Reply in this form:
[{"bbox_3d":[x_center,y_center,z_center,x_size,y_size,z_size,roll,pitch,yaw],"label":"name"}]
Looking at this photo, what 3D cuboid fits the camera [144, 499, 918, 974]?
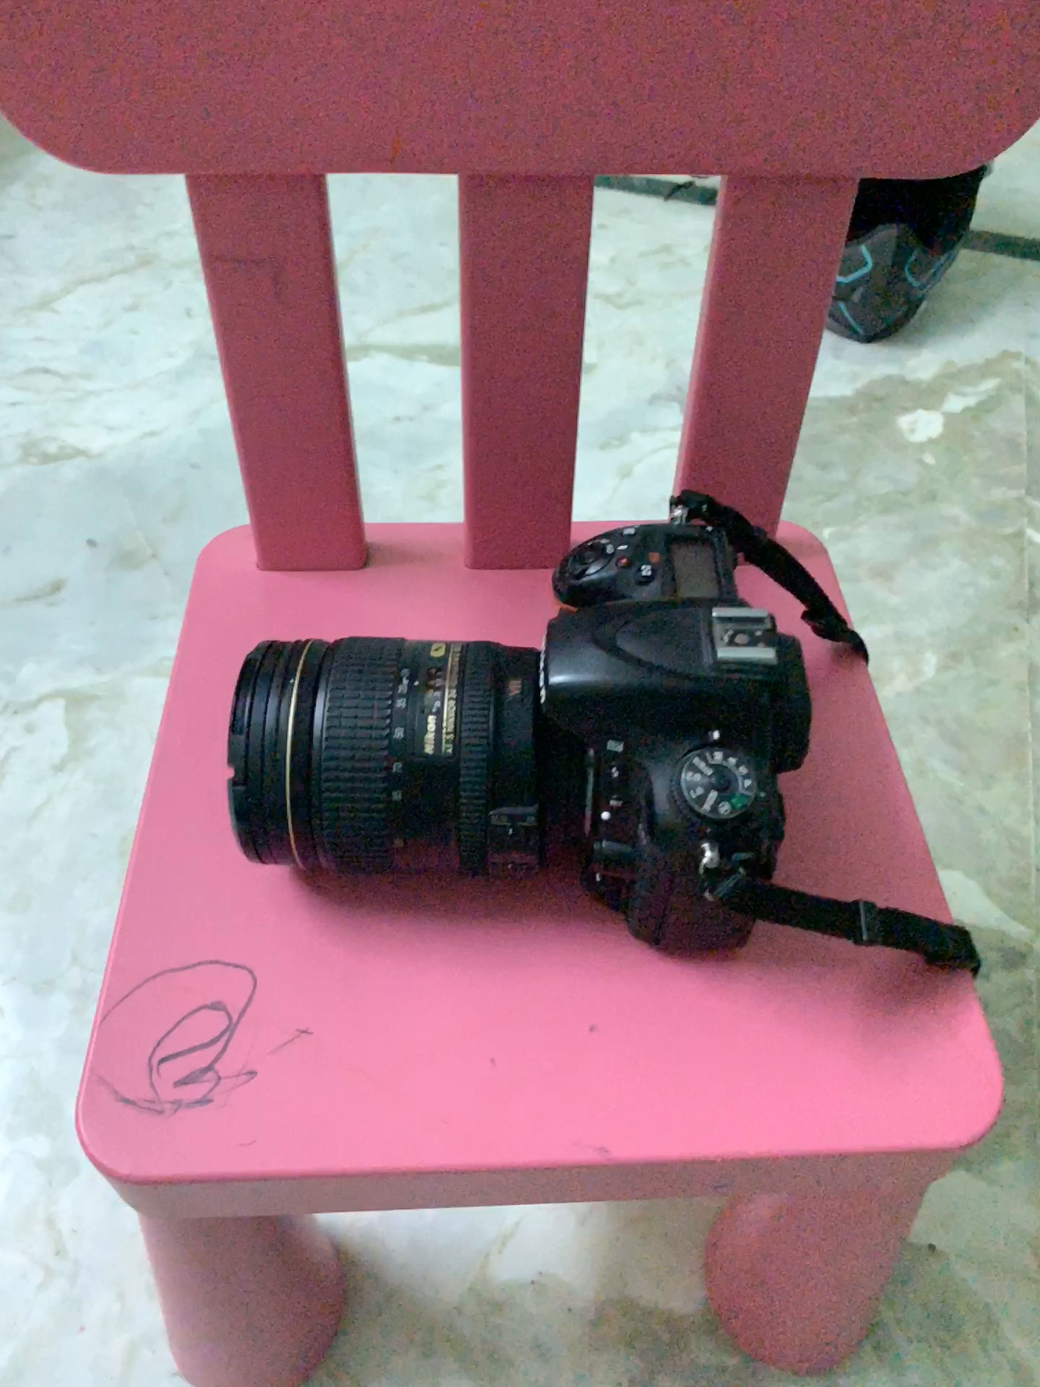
[{"bbox_3d":[0.002,0.013,0.364,0.210,0.080,0.140,0,52,-1],"label":"camera"}]
